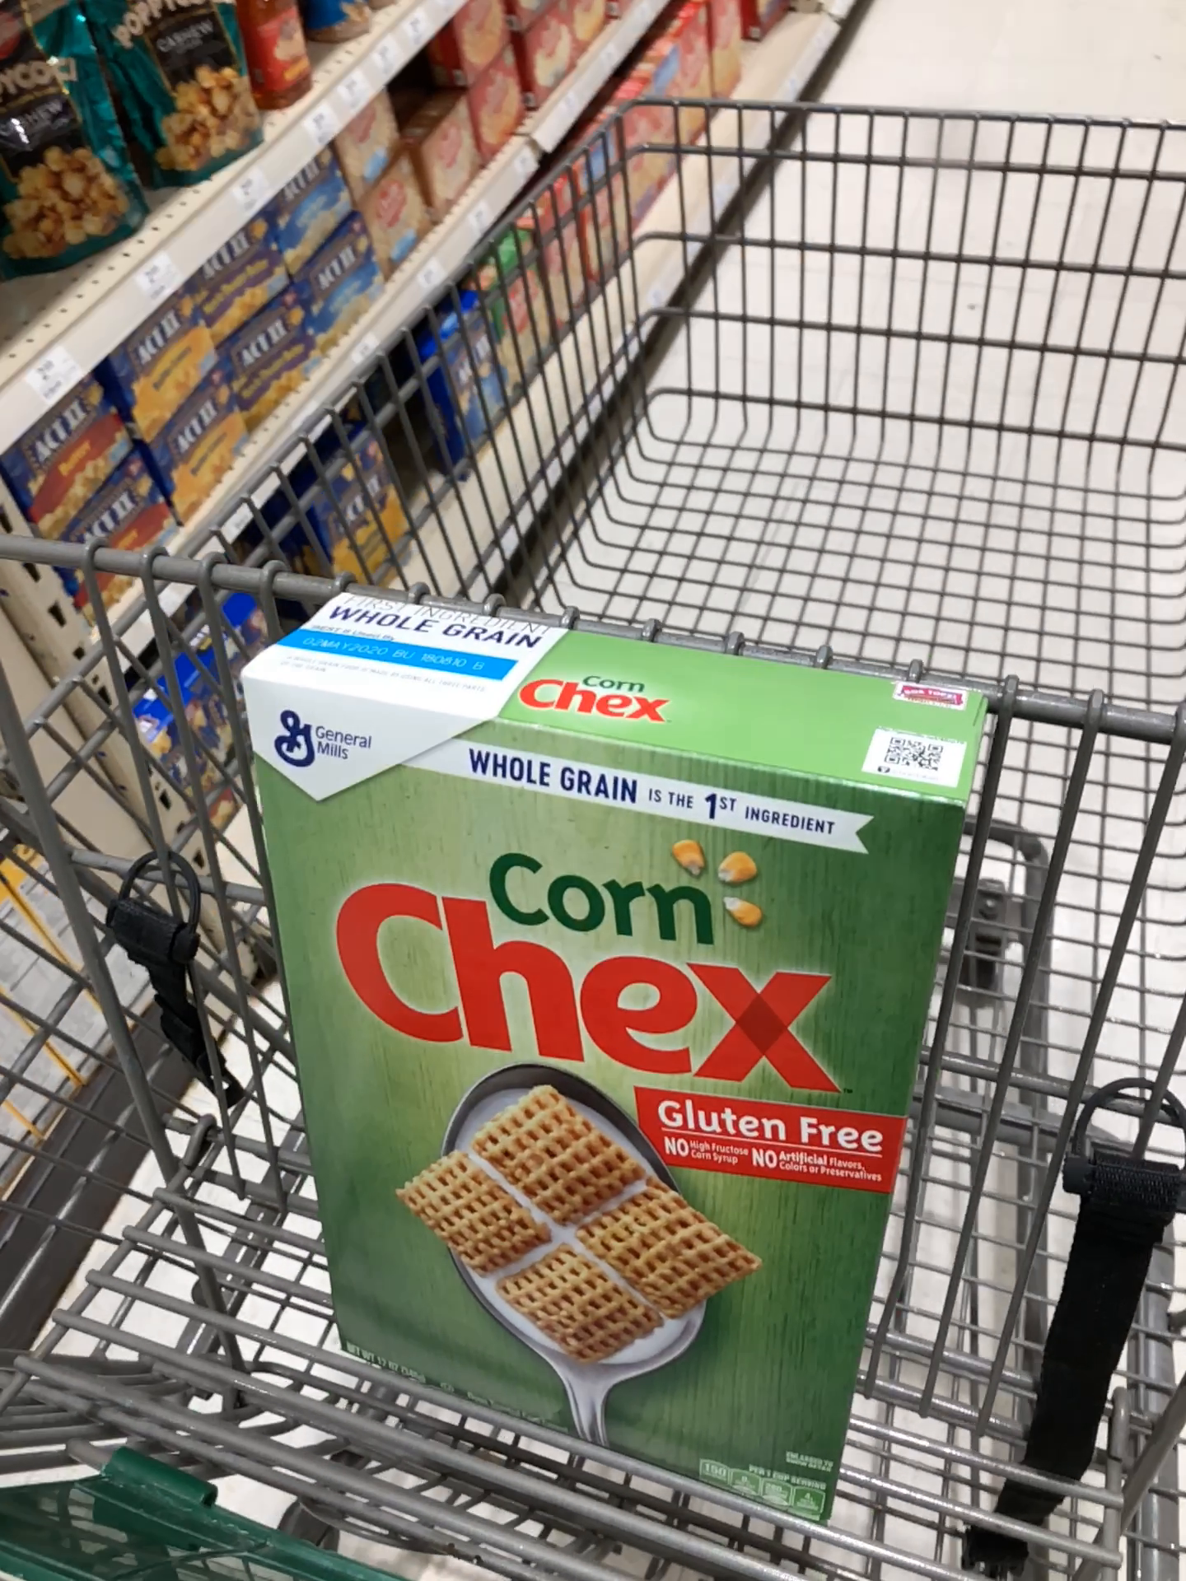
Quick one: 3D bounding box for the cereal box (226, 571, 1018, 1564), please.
[{"bbox_3d":[0.004,0.100,0.425,0.200,0.310,0.060,12,33,17],"label":"cereal box"}]
